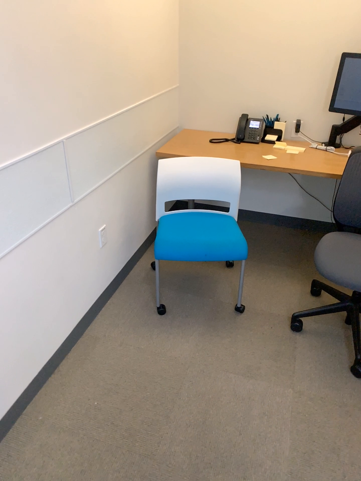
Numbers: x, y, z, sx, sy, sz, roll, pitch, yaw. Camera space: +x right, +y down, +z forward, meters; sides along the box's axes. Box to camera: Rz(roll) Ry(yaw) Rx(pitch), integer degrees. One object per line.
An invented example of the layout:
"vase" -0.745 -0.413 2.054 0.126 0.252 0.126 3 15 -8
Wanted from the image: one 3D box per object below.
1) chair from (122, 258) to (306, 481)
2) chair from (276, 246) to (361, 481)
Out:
"chair" 0.115 0.595 1.577 0.530 0.686 0.795 3 31 3
"chair" 0.972 0.723 1.356 0.752 0.885 0.973 21 36 30
